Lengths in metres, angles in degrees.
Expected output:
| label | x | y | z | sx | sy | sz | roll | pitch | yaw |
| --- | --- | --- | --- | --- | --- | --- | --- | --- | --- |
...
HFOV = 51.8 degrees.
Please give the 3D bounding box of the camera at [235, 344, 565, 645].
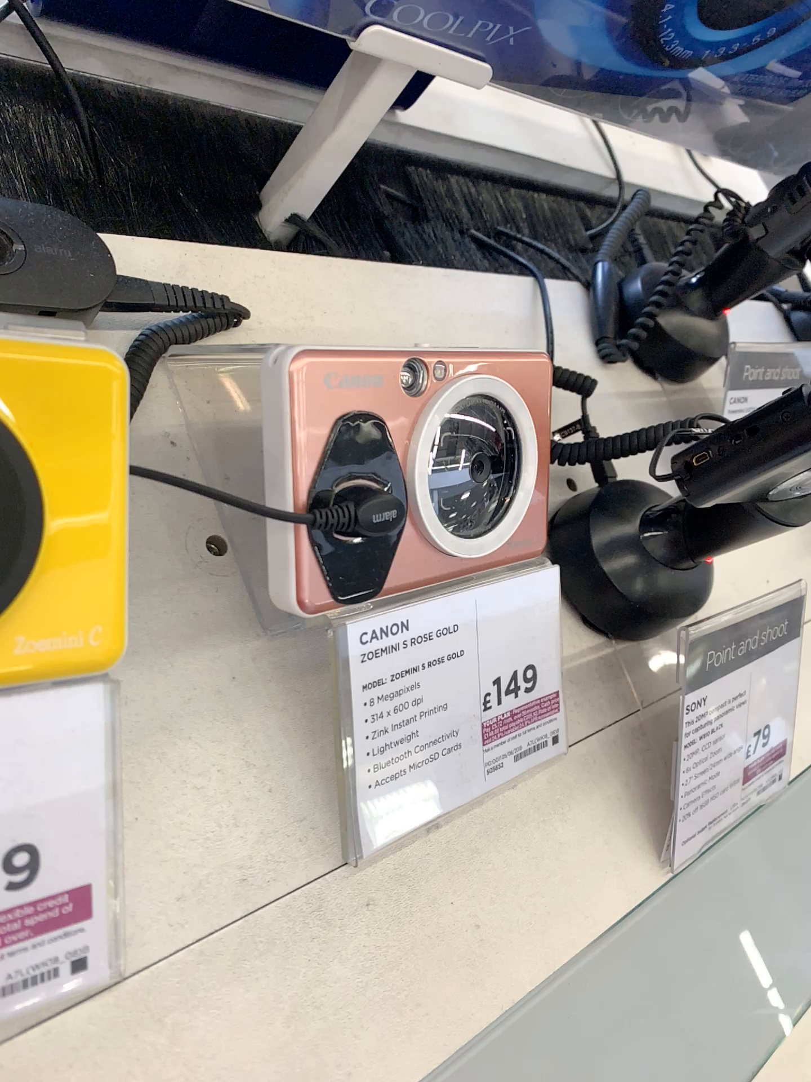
| label | x | y | z | sx | sy | sz | roll | pitch | yaw |
| --- | --- | --- | --- | --- | --- | --- | --- | --- | --- |
| camera | 0.006 | -0.022 | 0.279 | 0.129 | 0.020 | 0.083 | -11 | 105 | -43 |
